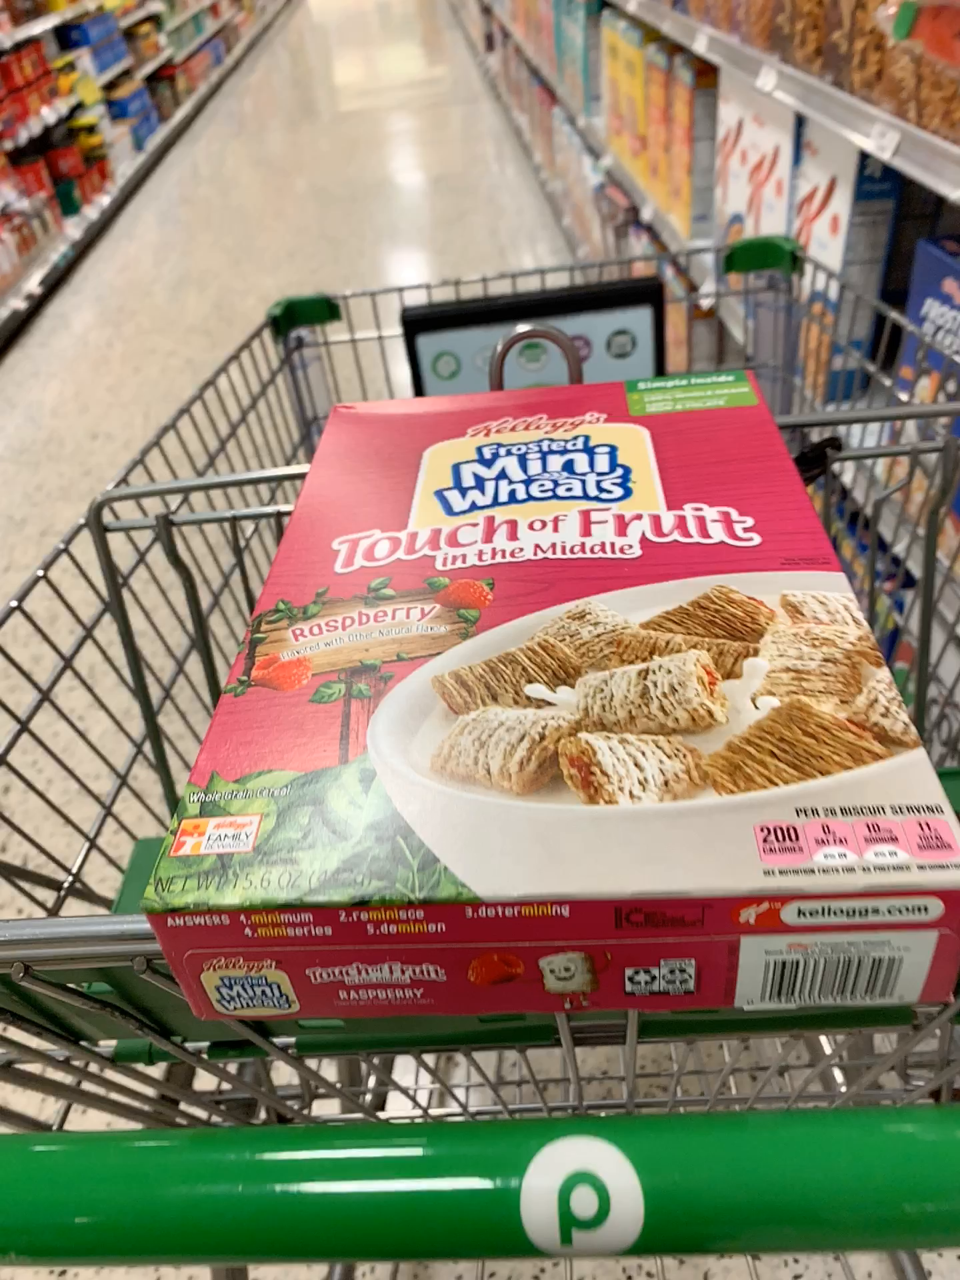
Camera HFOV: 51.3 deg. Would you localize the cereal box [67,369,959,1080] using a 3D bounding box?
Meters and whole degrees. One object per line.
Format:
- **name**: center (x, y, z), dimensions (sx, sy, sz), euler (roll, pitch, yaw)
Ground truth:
- **cereal box**: center (0.016, -0.004, 0.342), dimensions (0.200, 0.050, 0.293), euler (-3, 37, 5)
